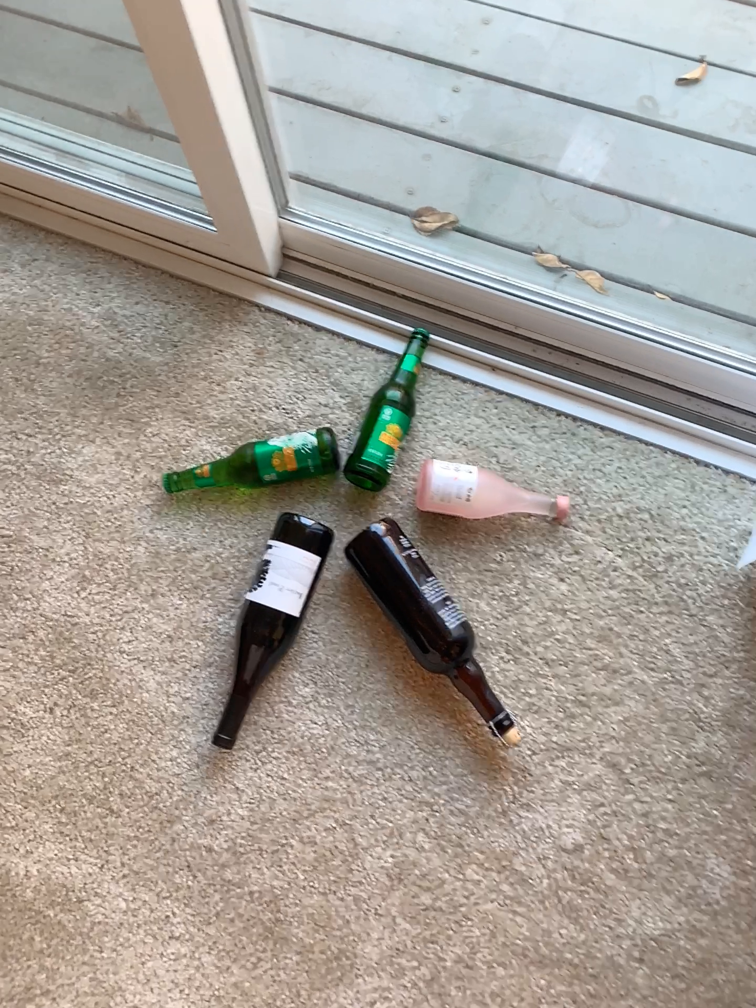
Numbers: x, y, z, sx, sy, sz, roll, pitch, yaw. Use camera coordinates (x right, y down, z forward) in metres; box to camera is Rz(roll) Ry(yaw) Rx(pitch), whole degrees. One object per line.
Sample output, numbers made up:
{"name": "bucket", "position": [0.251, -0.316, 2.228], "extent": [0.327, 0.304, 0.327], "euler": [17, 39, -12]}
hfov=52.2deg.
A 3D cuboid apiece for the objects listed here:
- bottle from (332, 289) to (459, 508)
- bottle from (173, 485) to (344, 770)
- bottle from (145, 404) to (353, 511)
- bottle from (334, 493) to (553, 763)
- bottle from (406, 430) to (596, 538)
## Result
{"name": "bottle", "position": [0.026, -0.134, 0.986], "extent": [0.080, 0.090, 0.250], "euler": [18, 78, 8]}
{"name": "bottle", "position": [-0.132, 0.144, 0.907], "extent": [0.080, 0.090, 0.310], "euler": [16, 73, 8]}
{"name": "bottle", "position": [-0.157, -0.057, 0.967], "extent": [0.240, 0.090, 0.070], "euler": [-9, 73, -2]}
{"name": "bottle", "position": [0.070, 0.144, 0.904], "extent": [0.080, 0.090, 0.310], "euler": [-33, 72, -6]}
{"name": "bottle", "position": [0.147, -0.023, 0.942], "extent": [0.210, 0.090, 0.080], "euler": [8, 74, 8]}
